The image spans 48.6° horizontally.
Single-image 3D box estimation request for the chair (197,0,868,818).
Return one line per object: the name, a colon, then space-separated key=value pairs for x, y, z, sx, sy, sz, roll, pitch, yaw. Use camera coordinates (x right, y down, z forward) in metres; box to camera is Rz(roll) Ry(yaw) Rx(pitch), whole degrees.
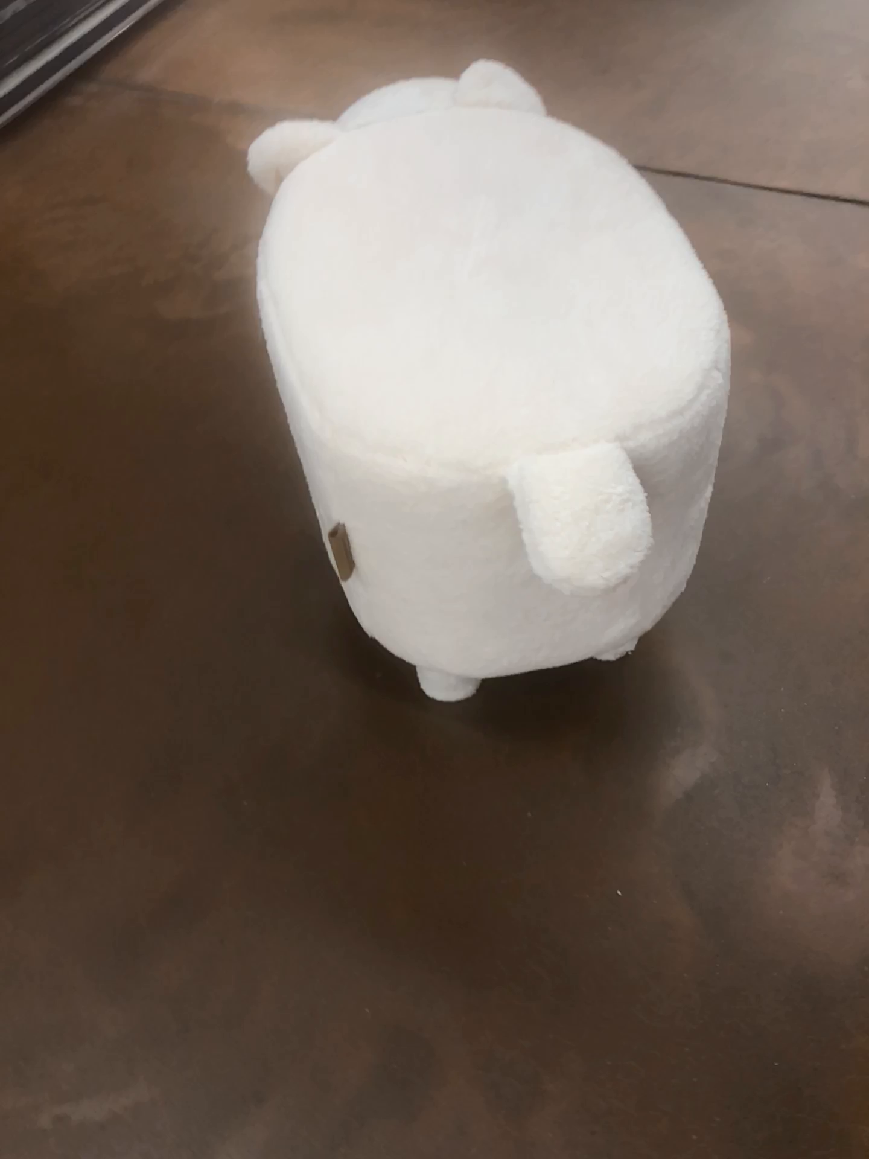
chair: x=0.052 y=-0.188 z=0.868 sx=0.440 sy=0.349 sz=0.631 roll=-10 pitch=52 yaw=-2
